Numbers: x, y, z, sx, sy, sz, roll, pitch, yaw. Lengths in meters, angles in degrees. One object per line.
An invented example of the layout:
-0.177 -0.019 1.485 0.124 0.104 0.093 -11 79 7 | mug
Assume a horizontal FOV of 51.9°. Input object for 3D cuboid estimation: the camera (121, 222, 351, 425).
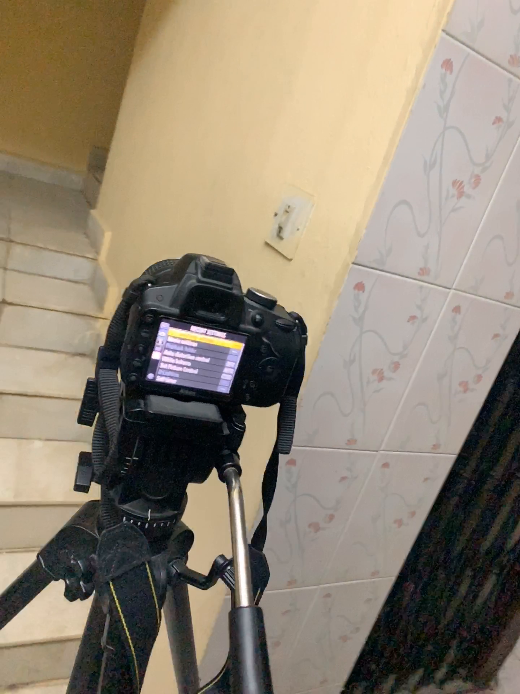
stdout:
-0.029 -0.022 0.413 0.134 0.090 0.130 13 18 -19 | camera
